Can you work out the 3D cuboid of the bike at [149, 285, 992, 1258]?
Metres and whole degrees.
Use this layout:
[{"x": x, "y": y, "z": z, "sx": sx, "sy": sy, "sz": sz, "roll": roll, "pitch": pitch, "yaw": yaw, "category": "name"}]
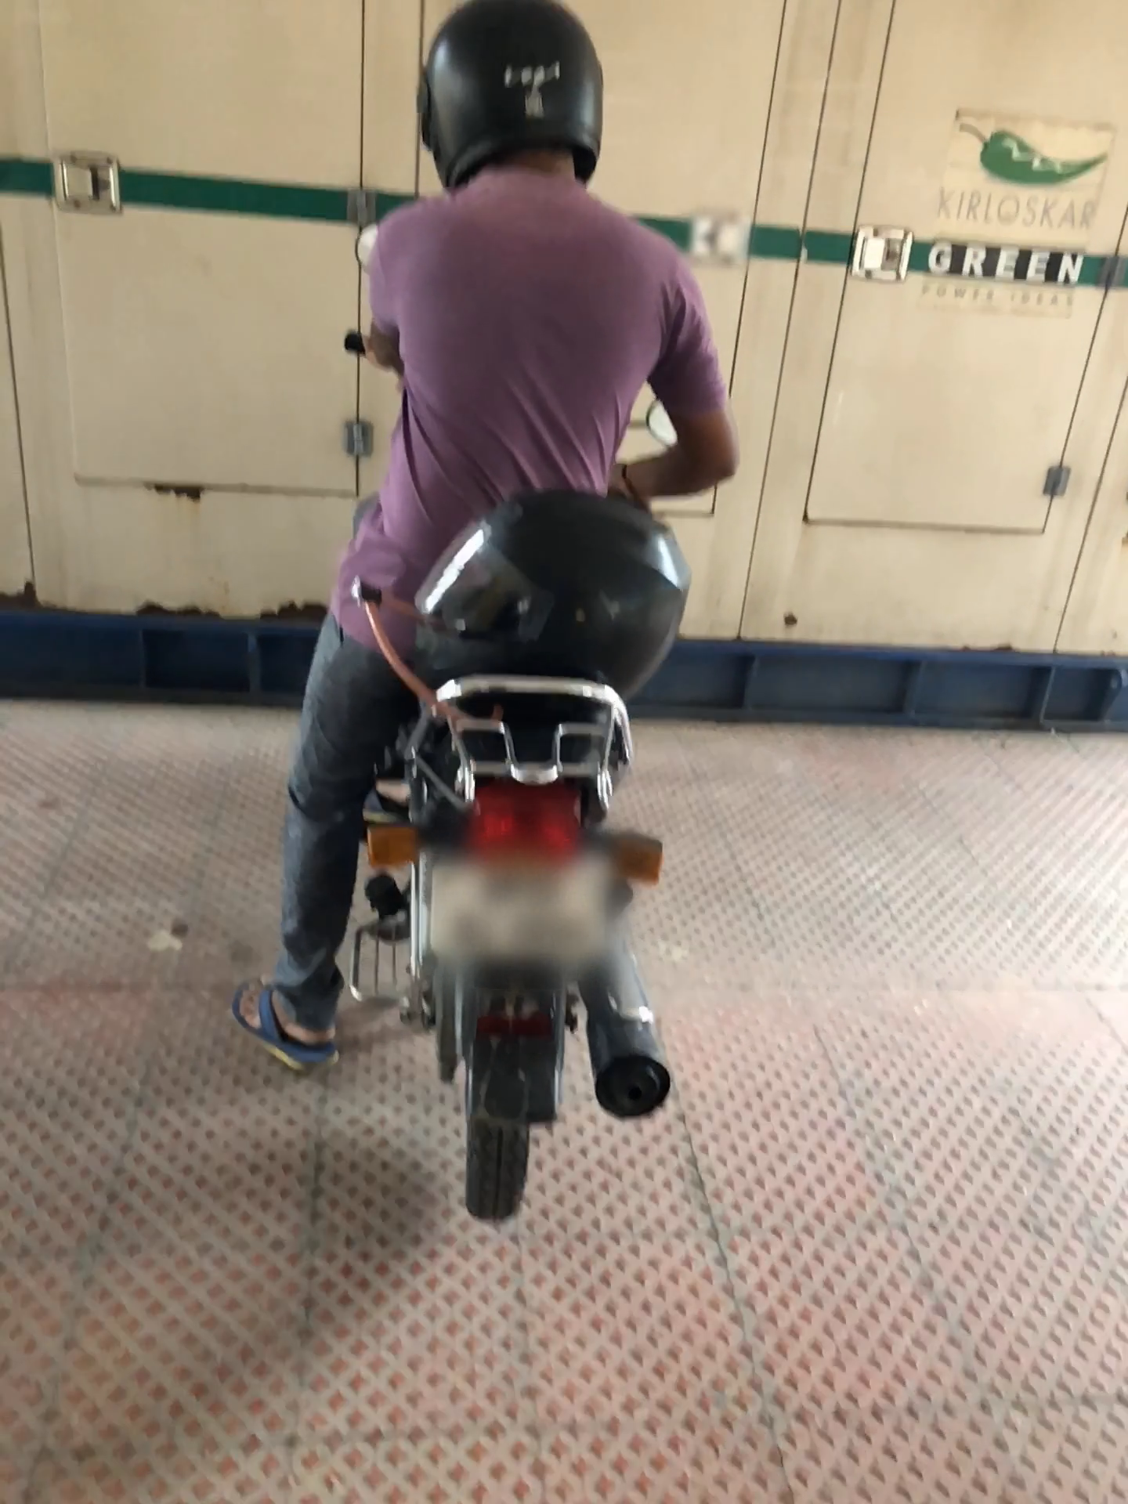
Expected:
[{"x": 0.034, "y": -0.148, "z": 2.097, "sx": 0.814, "sy": 0.927, "sz": 1.604, "roll": 6, "pitch": 28, "yaw": -1, "category": "bike"}]
